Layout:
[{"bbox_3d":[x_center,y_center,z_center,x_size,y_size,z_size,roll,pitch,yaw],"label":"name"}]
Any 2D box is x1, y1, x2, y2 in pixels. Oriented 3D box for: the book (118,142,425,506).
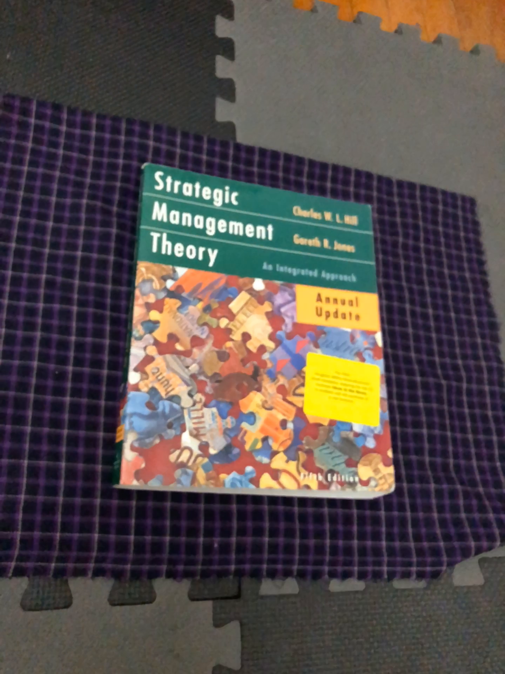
[{"bbox_3d":[0.021,-0.010,0.470,0.230,0.040,0.281,7,70,-15],"label":"book"}]
